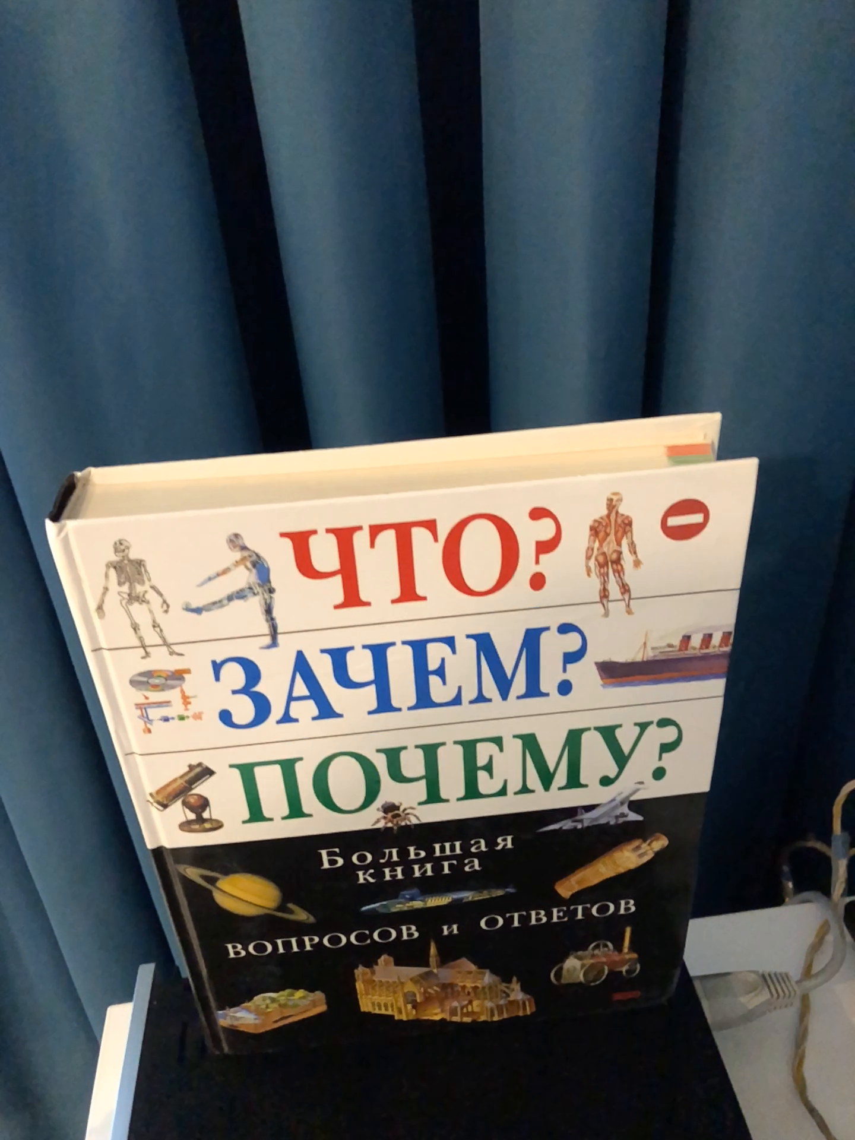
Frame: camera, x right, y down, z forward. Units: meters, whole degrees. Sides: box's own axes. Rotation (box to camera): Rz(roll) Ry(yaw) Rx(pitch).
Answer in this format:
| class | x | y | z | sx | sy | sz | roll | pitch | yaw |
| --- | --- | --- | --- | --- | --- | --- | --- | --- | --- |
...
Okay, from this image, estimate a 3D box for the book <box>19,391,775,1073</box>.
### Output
| class | x | y | z | sx | sy | sz | roll | pitch | yaw |
| --- | --- | --- | --- | --- | --- | --- | --- | --- | --- |
| book | 0.000 | 0.087 | 0.379 | 0.224 | 0.300 | 0.042 | -6 | 34 | -2 |
